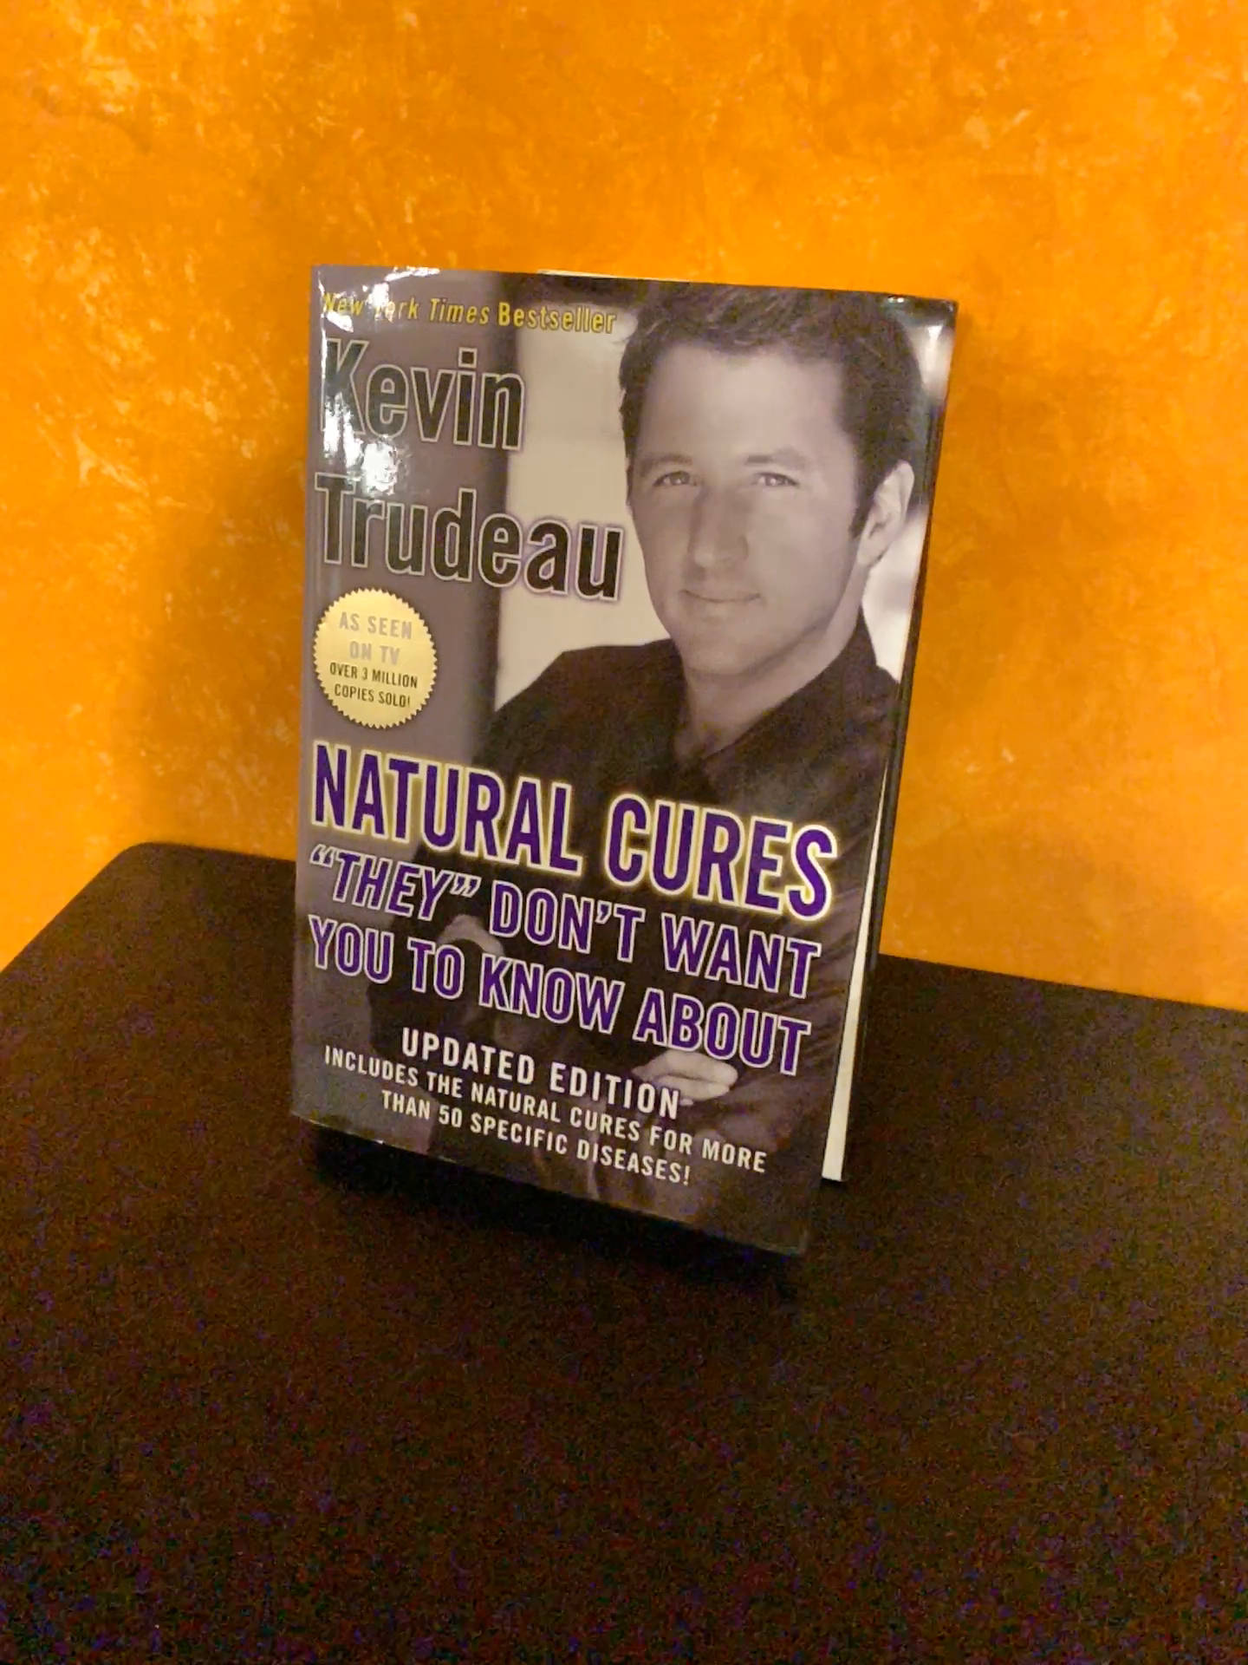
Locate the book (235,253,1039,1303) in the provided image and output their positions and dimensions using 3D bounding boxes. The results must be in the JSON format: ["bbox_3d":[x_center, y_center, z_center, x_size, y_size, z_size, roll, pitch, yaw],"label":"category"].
[{"bbox_3d":[-0.007,-0.018,0.332,0.180,0.229,0.050,10,15,17],"label":"book"}]
